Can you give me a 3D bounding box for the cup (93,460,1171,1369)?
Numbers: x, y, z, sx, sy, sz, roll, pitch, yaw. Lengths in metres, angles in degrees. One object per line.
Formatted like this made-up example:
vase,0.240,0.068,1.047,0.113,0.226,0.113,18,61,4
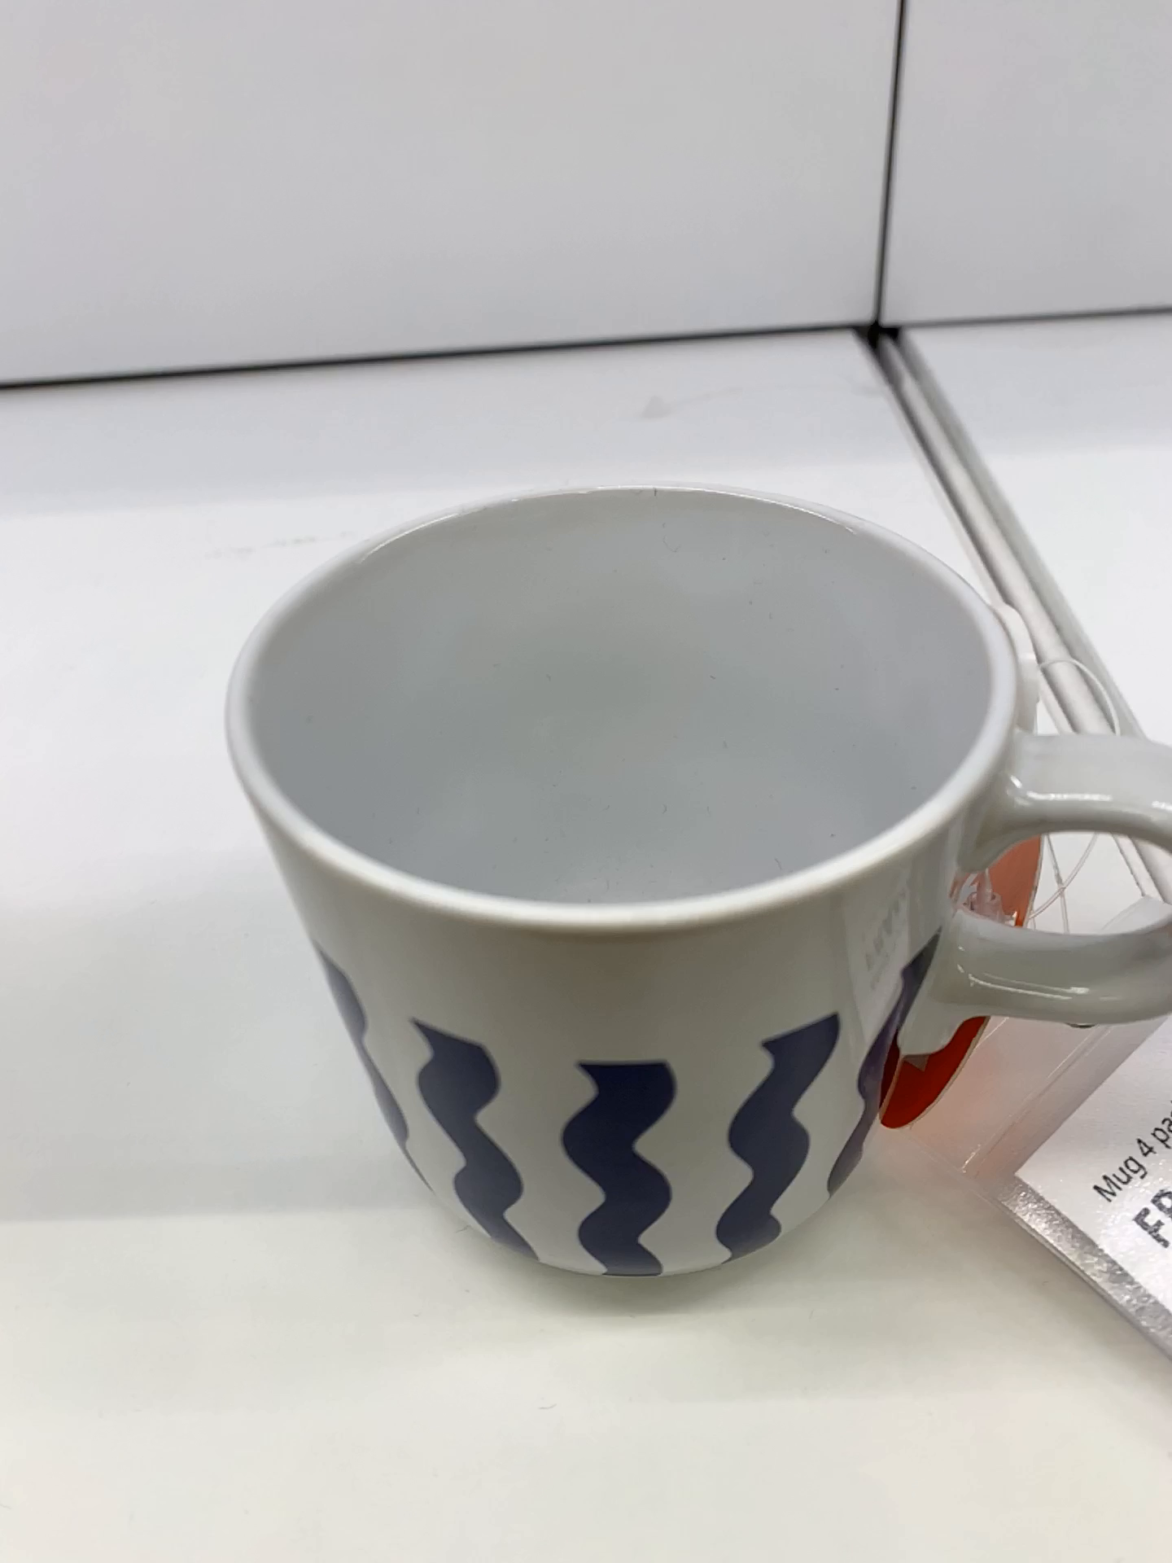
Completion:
cup,0.013,0.014,0.148,0.101,0.071,0.076,-3,38,2
